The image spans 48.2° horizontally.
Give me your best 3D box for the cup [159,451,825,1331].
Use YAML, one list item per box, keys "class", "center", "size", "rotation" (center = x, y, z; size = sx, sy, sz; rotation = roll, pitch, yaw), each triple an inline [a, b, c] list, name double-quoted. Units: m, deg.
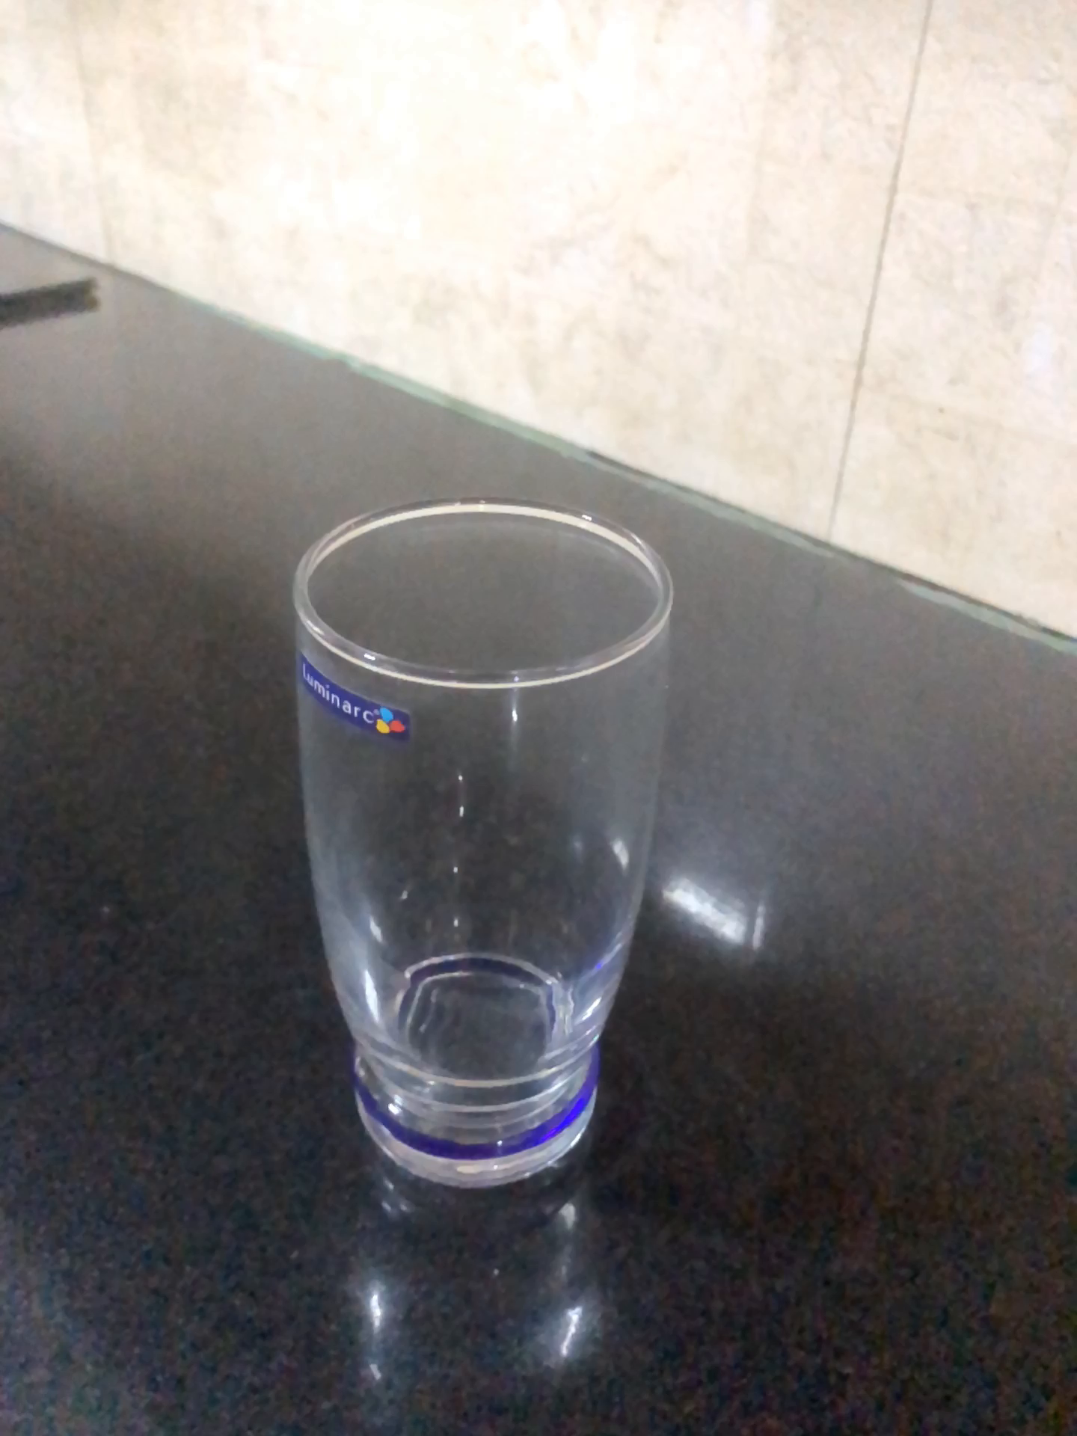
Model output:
- class: "cup"
  center: [-0.008, 0.030, 0.238]
  size: [0.080, 0.129, 0.080]
  rotation: [2, 33, -1]
